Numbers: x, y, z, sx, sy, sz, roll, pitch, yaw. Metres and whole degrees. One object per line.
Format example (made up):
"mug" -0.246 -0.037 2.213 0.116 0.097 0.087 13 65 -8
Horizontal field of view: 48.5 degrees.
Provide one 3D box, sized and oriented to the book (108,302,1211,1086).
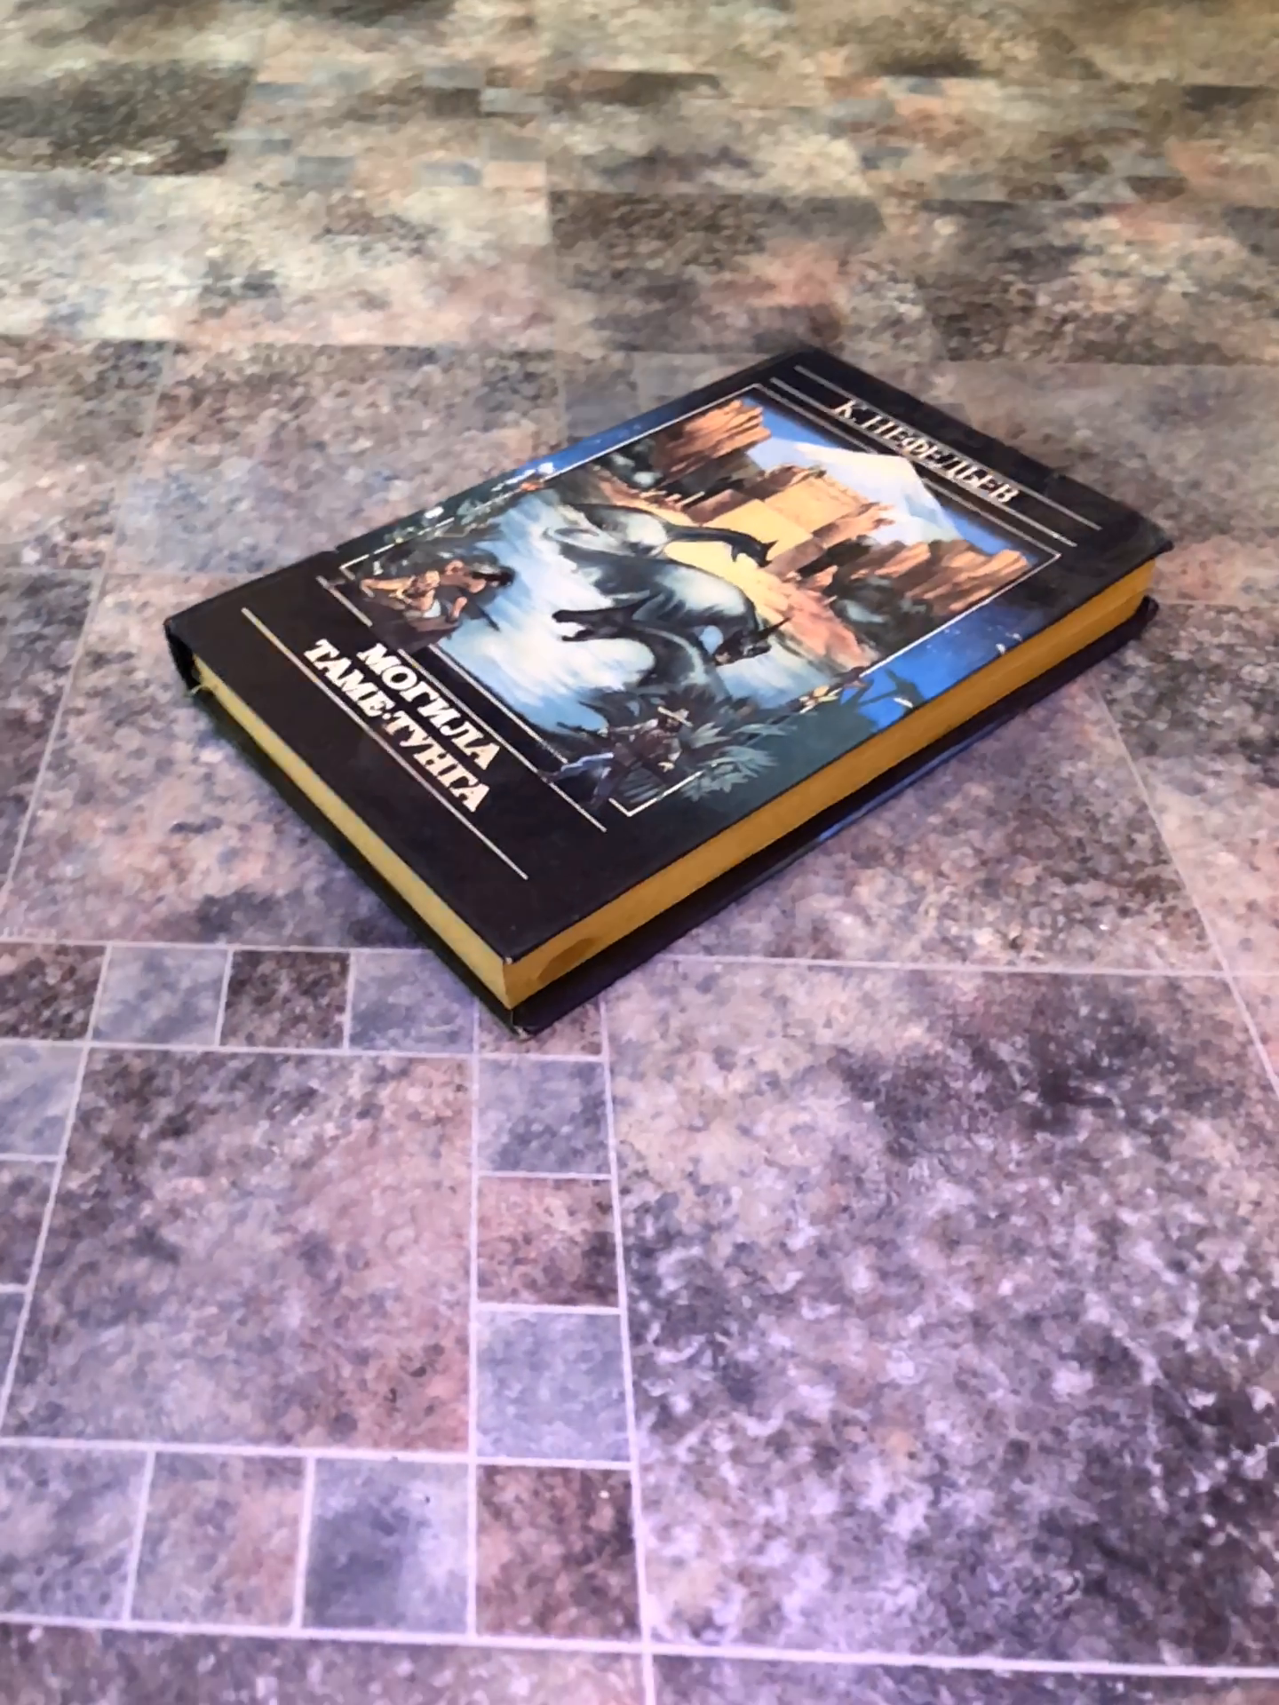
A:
"book" 0.007 -0.055 0.324 0.202 0.030 0.139 -31 55 -25
